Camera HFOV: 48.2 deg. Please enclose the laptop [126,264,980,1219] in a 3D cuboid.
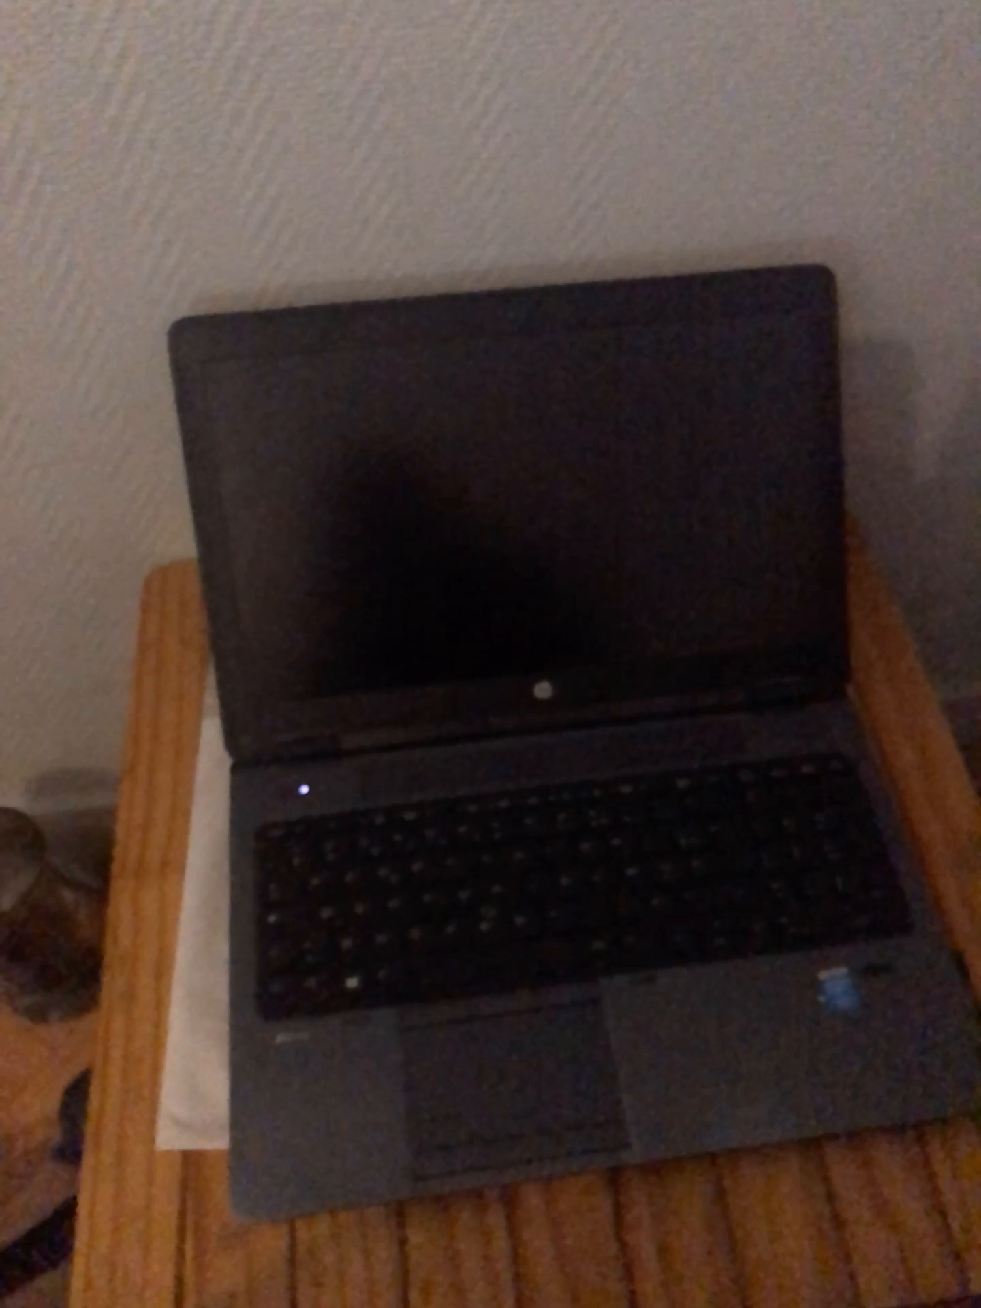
[{"bbox_3d":[0.039,0.019,0.575,0.382,0.196,0.411,-7,54,-5],"label":"laptop"}]
